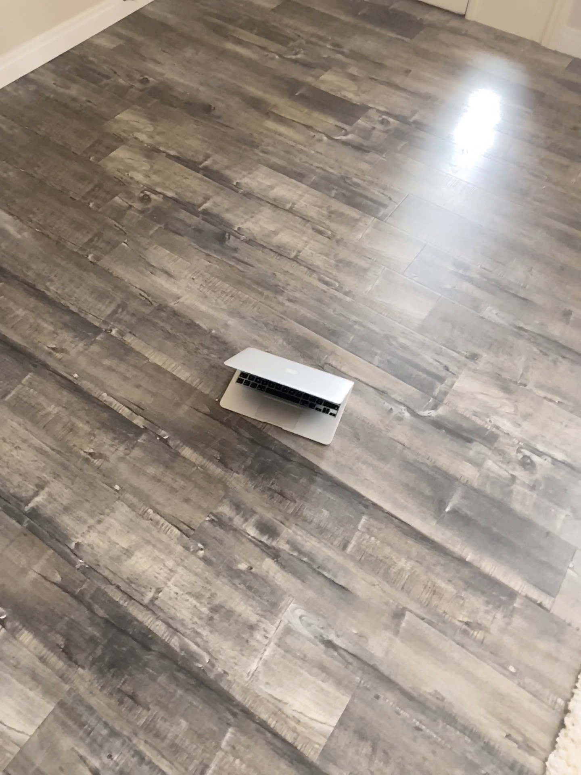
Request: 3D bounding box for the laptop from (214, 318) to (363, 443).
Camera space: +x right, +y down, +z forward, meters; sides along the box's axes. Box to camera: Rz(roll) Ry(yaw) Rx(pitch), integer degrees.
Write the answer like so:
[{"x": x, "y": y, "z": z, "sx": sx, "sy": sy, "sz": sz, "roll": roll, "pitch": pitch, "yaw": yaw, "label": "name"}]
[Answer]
[{"x": -0.003, "y": -0.017, "z": 1.320, "sx": 0.270, "sy": 0.113, "sz": 0.173, "roll": 19, "pitch": 57, "yaw": 10, "label": "laptop"}]
